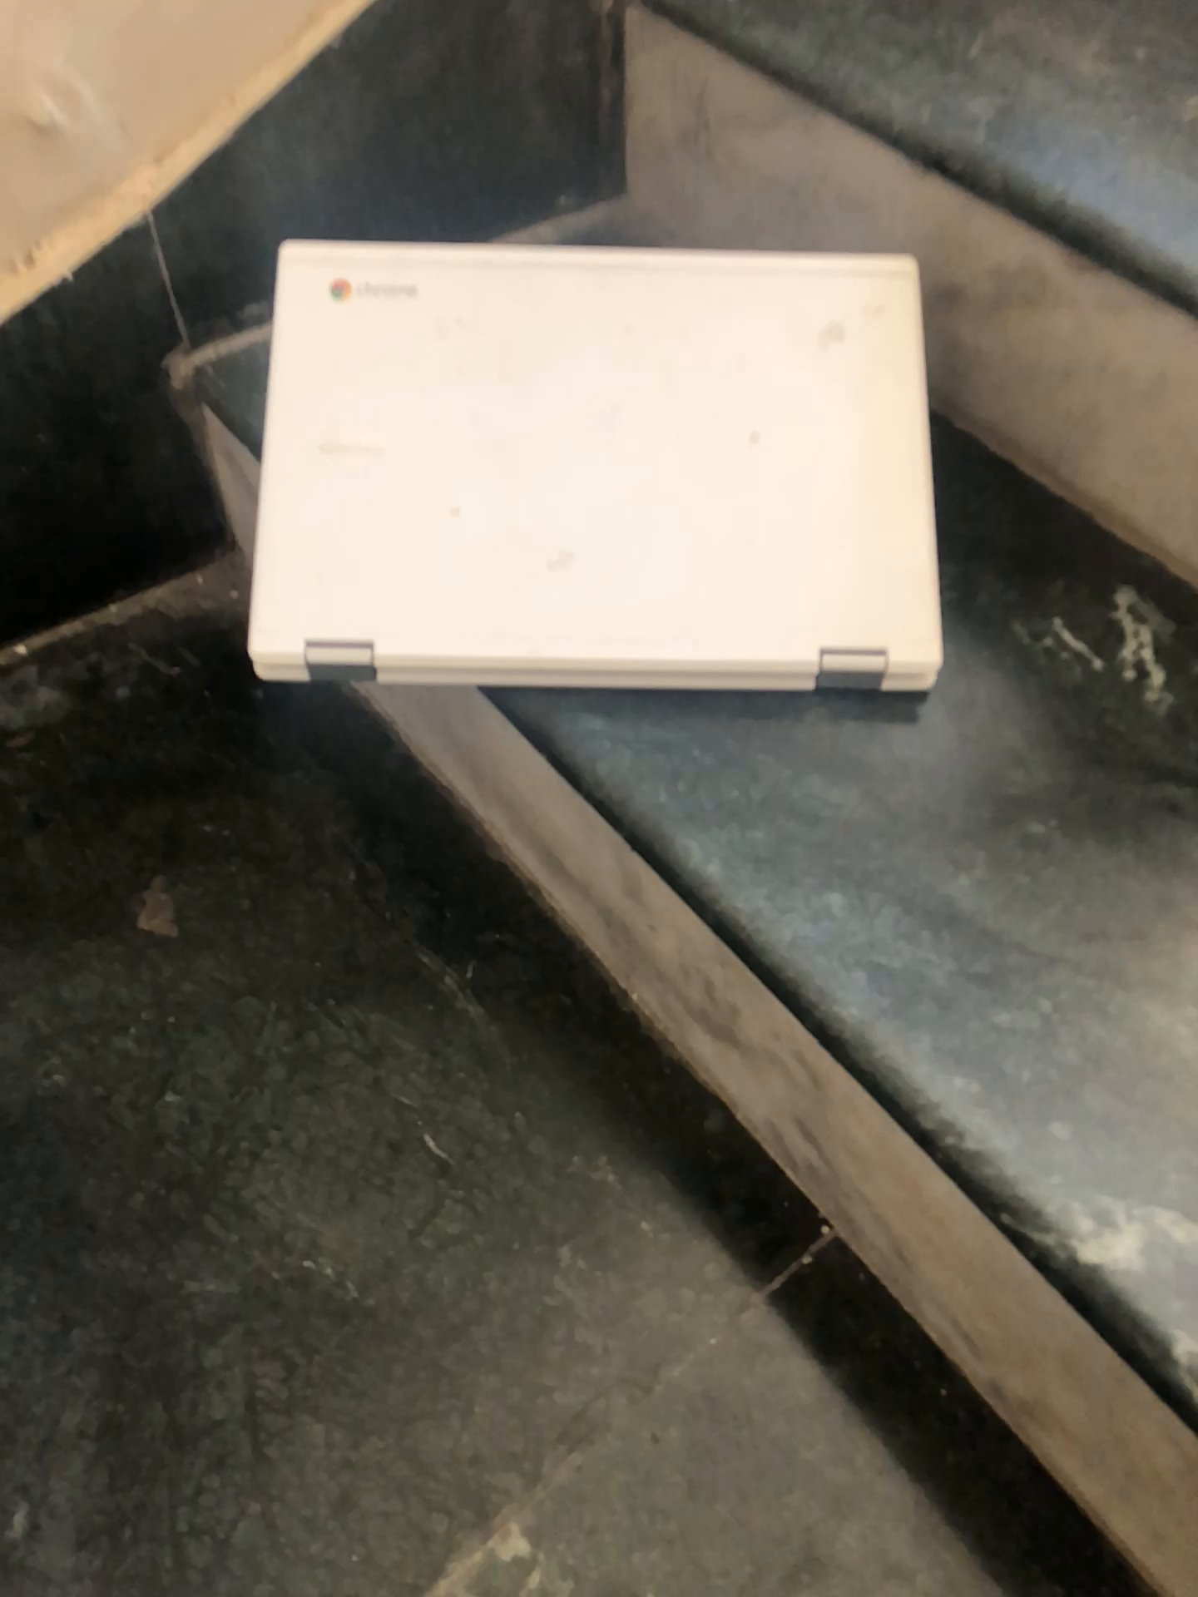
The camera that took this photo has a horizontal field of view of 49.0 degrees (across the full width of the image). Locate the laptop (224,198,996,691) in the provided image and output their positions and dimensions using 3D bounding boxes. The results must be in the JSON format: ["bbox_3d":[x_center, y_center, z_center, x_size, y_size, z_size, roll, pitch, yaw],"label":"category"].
[{"bbox_3d":[0.001,-0.155,0.568,0.282,0.091,0.191,1,55,-3],"label":"laptop"}]
